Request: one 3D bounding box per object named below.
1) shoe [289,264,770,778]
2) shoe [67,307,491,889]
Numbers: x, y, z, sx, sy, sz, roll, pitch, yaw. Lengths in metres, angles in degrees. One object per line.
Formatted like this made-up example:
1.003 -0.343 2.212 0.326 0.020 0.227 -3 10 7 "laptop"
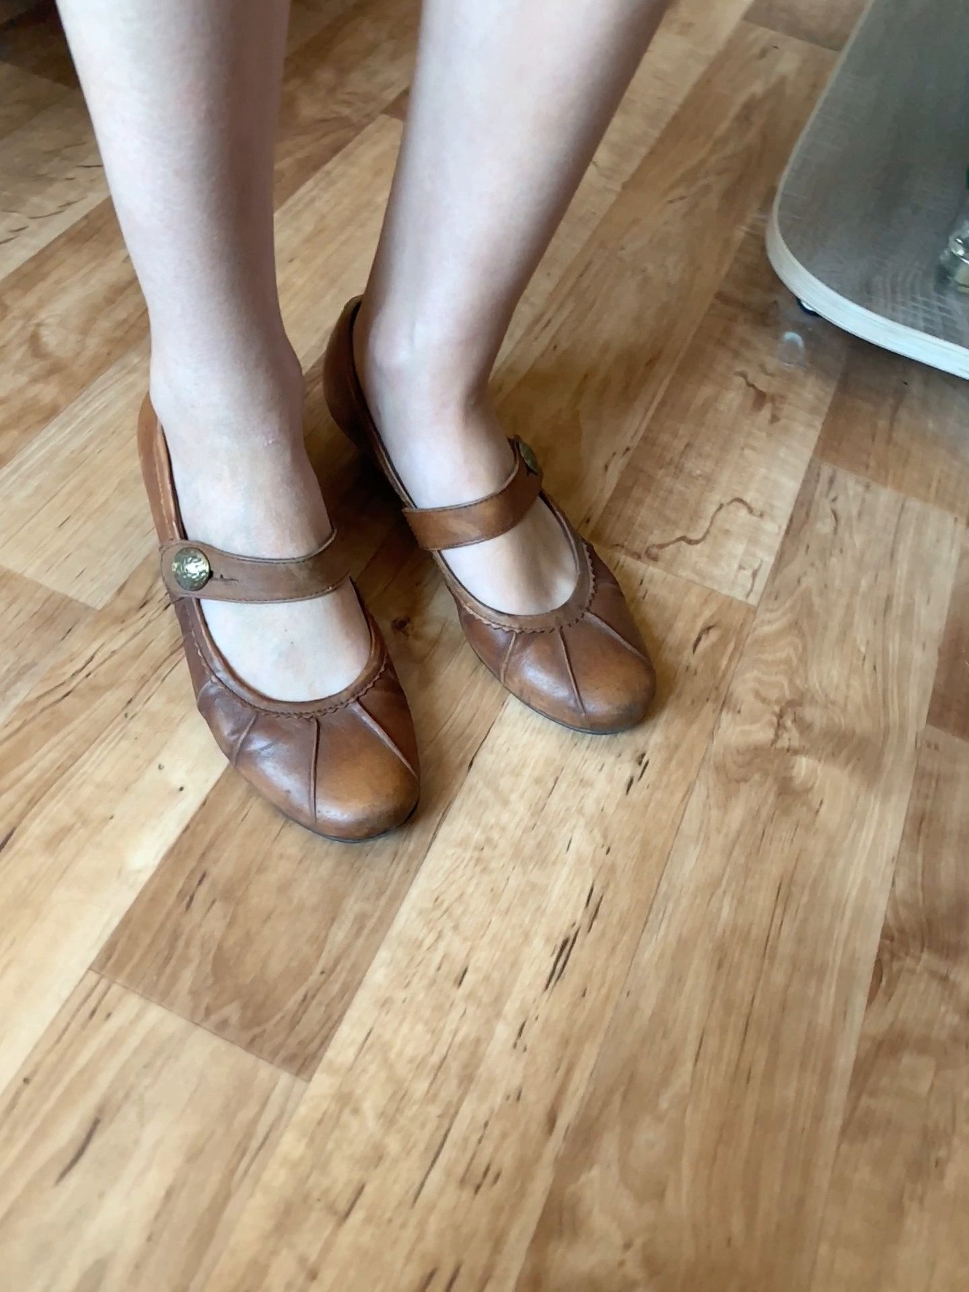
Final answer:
0.008 -0.071 0.498 0.090 0.090 0.250 -29 65 -25 "shoe"
-0.101 -0.032 0.455 0.090 0.090 0.250 -20 62 -21 "shoe"
